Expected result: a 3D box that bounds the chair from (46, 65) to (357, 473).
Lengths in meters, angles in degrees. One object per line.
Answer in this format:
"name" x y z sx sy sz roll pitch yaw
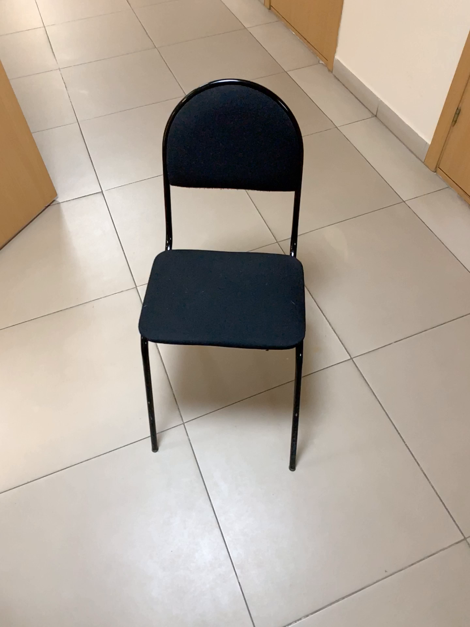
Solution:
"chair" -0.013 -0.079 1.243 0.480 0.774 0.695 4 54 5
